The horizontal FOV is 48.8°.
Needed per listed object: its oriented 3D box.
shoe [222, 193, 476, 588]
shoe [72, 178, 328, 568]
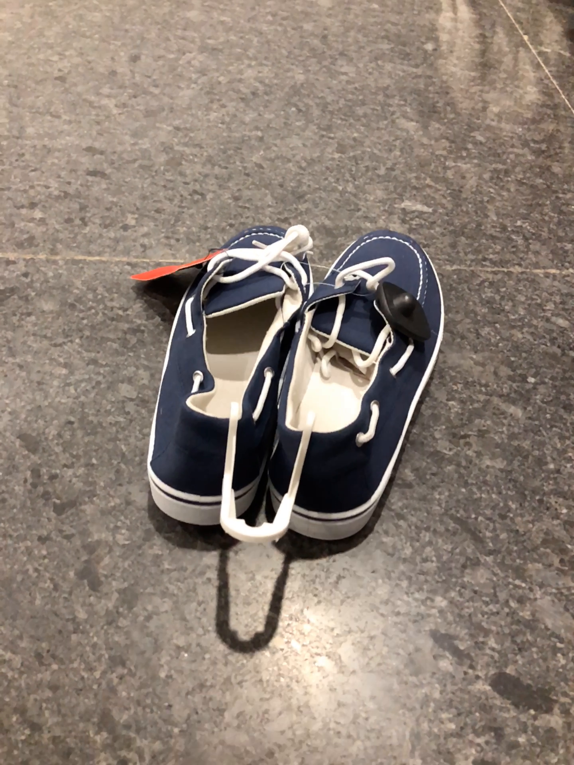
[{"bbox_3d":[0.050,-0.010,0.437,0.096,0.115,0.248,17,48,11],"label":"shoe"},{"bbox_3d":[-0.042,-0.021,0.438,0.096,0.115,0.250,10,47,4],"label":"shoe"}]
